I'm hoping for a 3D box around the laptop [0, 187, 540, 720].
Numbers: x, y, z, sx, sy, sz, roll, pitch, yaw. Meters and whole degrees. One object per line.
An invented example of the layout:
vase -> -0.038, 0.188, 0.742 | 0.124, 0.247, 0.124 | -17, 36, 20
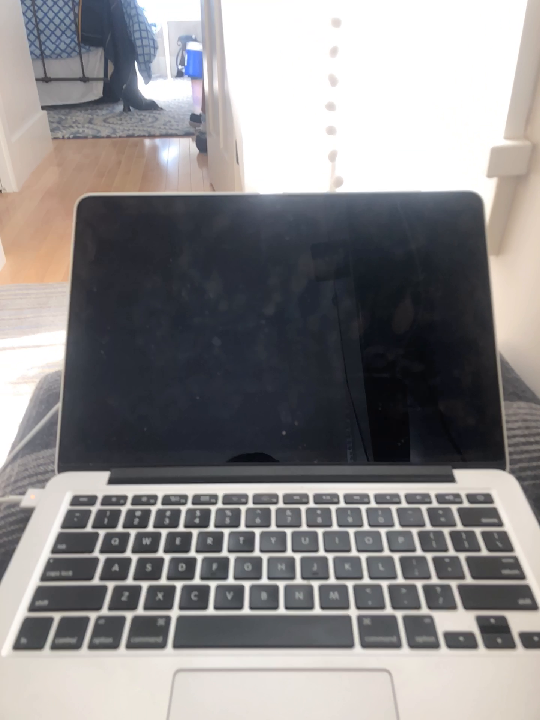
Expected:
laptop -> 0.008, 0.030, 0.335 | 0.306, 0.142, 0.369 | -1, 33, 1
